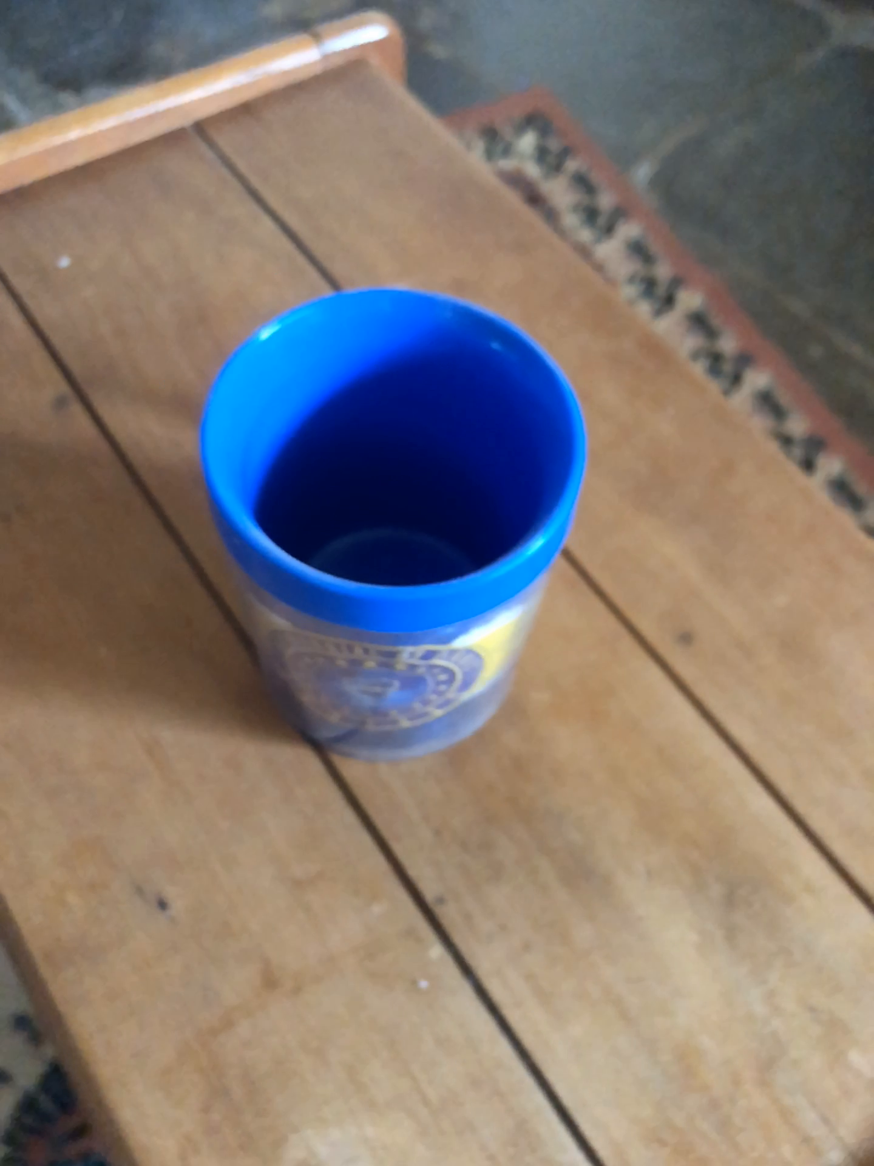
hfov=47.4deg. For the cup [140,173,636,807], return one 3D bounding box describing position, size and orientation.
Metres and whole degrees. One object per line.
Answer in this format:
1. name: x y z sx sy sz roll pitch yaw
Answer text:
1. cup: -0.012 -0.017 0.258 0.090 0.109 0.121 1 61 -4
